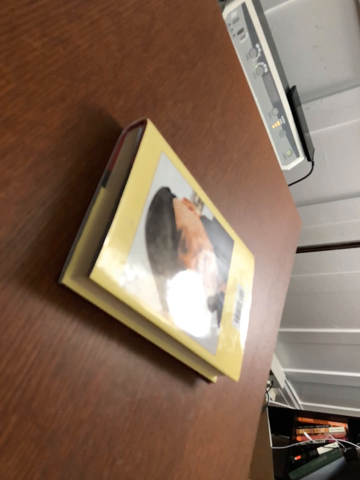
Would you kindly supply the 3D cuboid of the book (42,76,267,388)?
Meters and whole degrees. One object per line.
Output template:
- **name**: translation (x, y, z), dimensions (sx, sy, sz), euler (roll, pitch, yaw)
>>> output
- **book**: translation (0.010, 0.007, 0.377), dimensions (0.251, 0.030, 0.191), euler (46, 48, -40)
